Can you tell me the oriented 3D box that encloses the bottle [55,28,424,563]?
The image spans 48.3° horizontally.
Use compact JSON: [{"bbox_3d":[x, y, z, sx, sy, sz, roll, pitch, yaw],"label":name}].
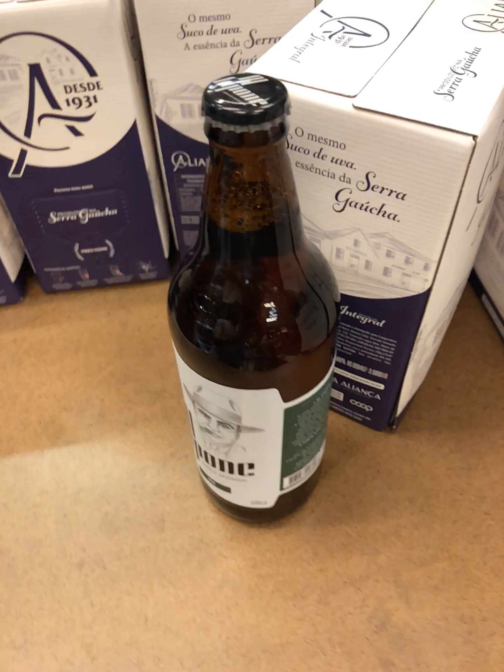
[{"bbox_3d":[0.000,0.007,0.248,0.080,0.228,0.070,33,58,27],"label":"bottle"}]
